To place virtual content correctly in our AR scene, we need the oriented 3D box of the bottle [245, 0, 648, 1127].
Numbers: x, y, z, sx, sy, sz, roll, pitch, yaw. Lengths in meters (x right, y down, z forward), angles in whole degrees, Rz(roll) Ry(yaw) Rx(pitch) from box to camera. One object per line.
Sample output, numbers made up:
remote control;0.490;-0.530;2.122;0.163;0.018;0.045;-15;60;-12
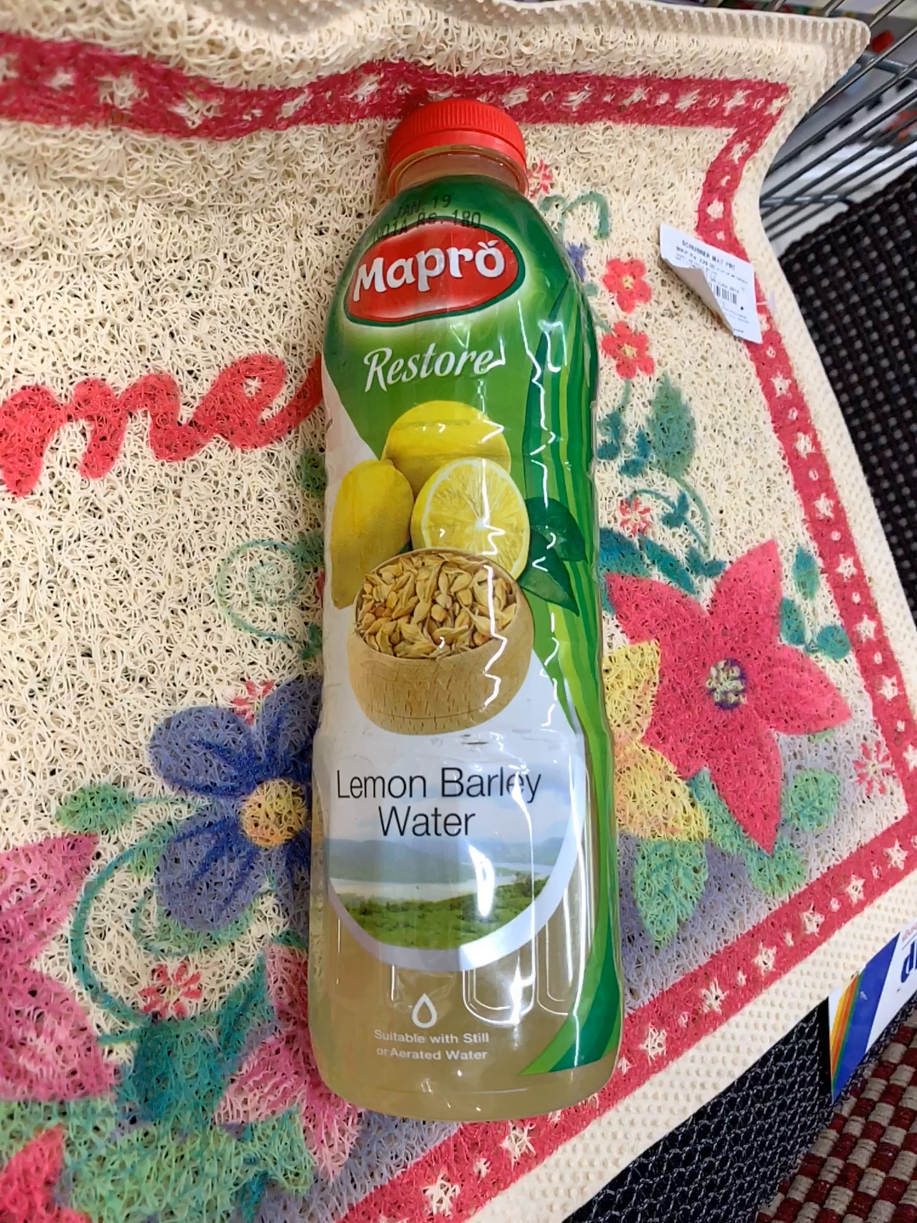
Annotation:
bottle;-0.005;-0.022;0.259;0.080;0.090;0.270;-1;79;0
